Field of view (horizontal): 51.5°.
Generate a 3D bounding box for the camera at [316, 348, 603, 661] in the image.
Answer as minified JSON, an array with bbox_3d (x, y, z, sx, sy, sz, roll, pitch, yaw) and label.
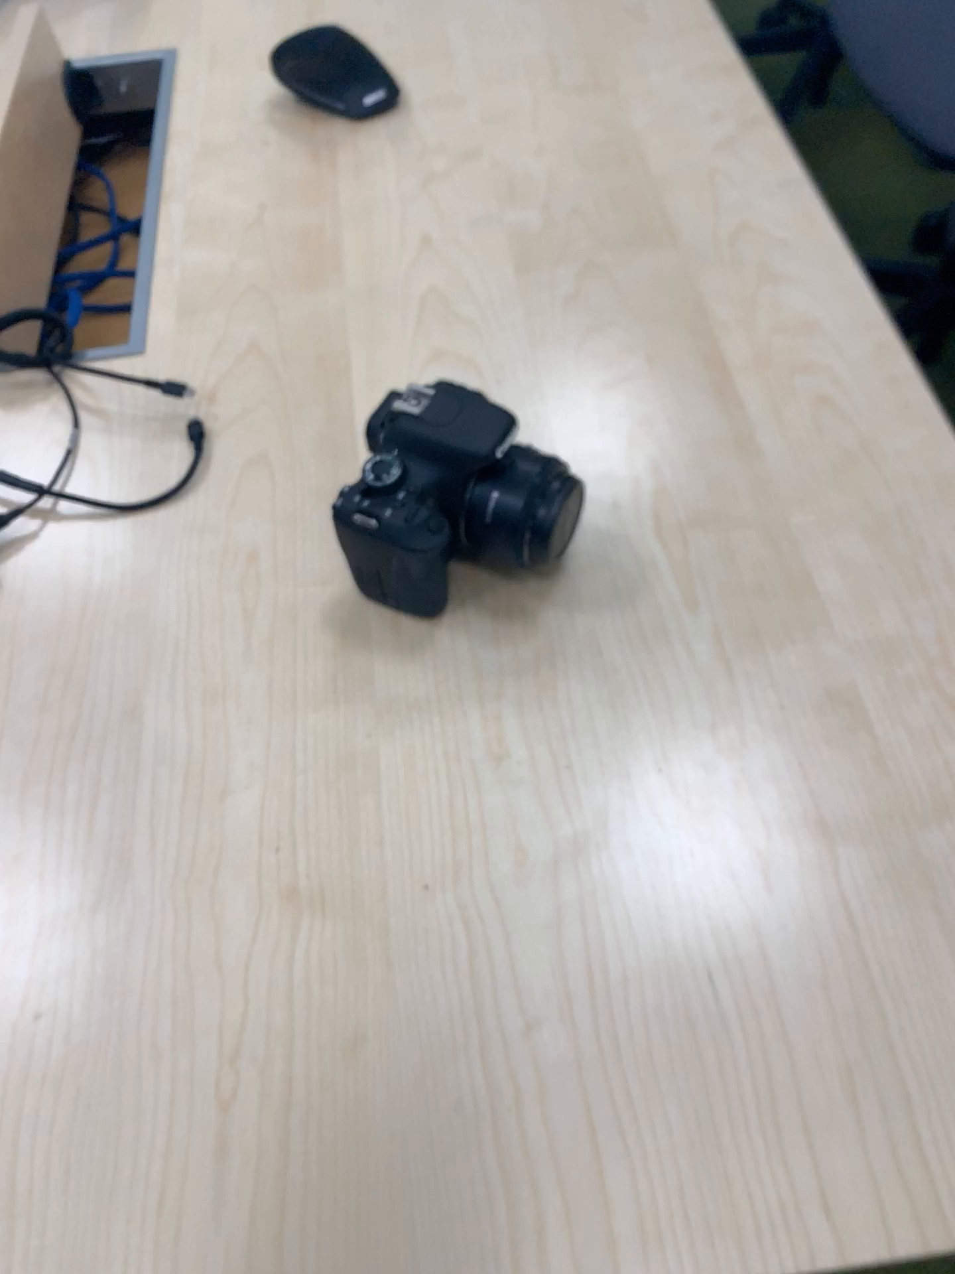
[{"bbox_3d":[-0.006,-0.083,0.611,0.119,0.100,0.130,22,59,18],"label":"camera"}]
